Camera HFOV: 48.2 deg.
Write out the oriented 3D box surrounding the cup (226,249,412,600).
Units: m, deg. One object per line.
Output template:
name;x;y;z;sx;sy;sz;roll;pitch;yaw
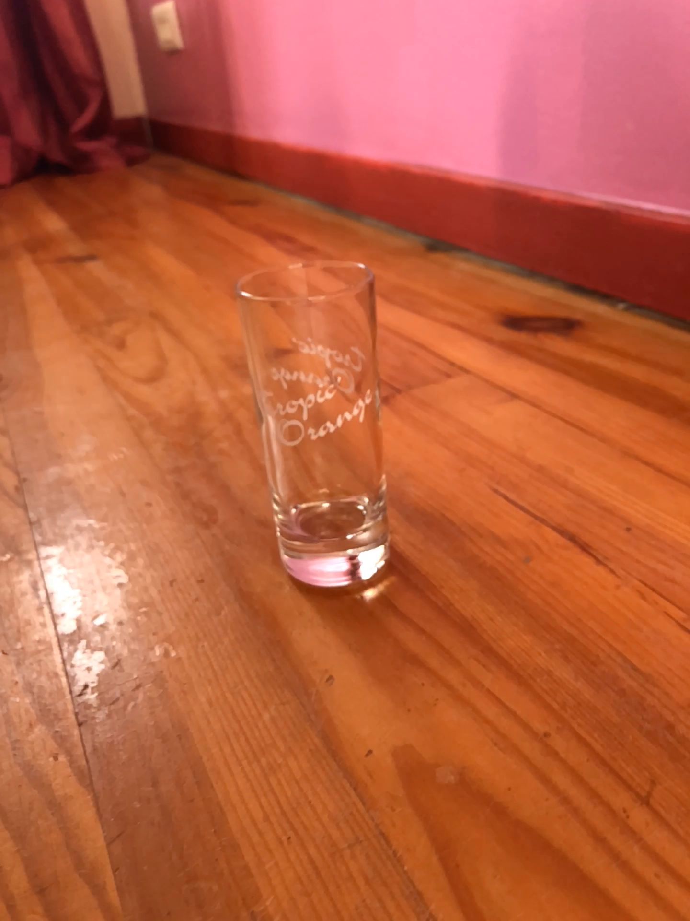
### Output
cup;-0.010;-0.015;0.315;0.056;0.124;0.056;-5;26;3
